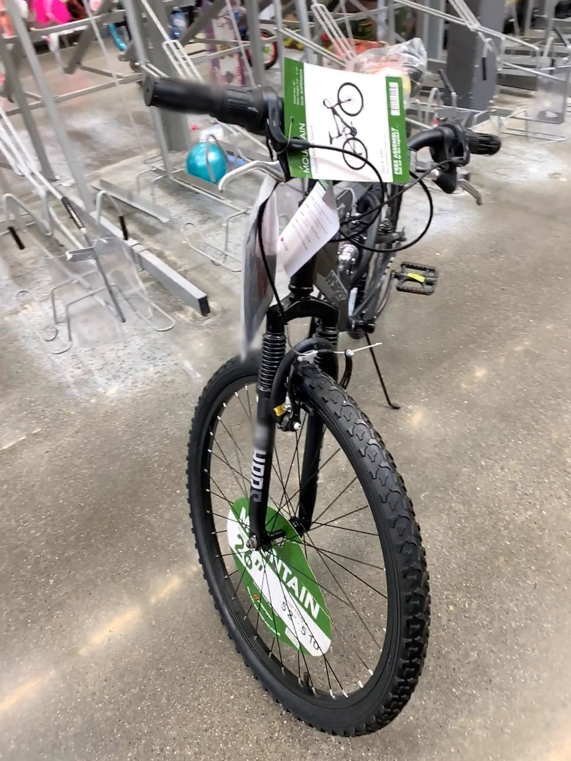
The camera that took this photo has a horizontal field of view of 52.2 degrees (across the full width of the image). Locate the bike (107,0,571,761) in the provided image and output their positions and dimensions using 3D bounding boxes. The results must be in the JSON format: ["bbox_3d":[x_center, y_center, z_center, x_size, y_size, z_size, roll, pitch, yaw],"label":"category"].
[{"bbox_3d":[0.335,-0.247,1.391,0.690,1.089,1.690,0,43,10],"label":"bike"}]
